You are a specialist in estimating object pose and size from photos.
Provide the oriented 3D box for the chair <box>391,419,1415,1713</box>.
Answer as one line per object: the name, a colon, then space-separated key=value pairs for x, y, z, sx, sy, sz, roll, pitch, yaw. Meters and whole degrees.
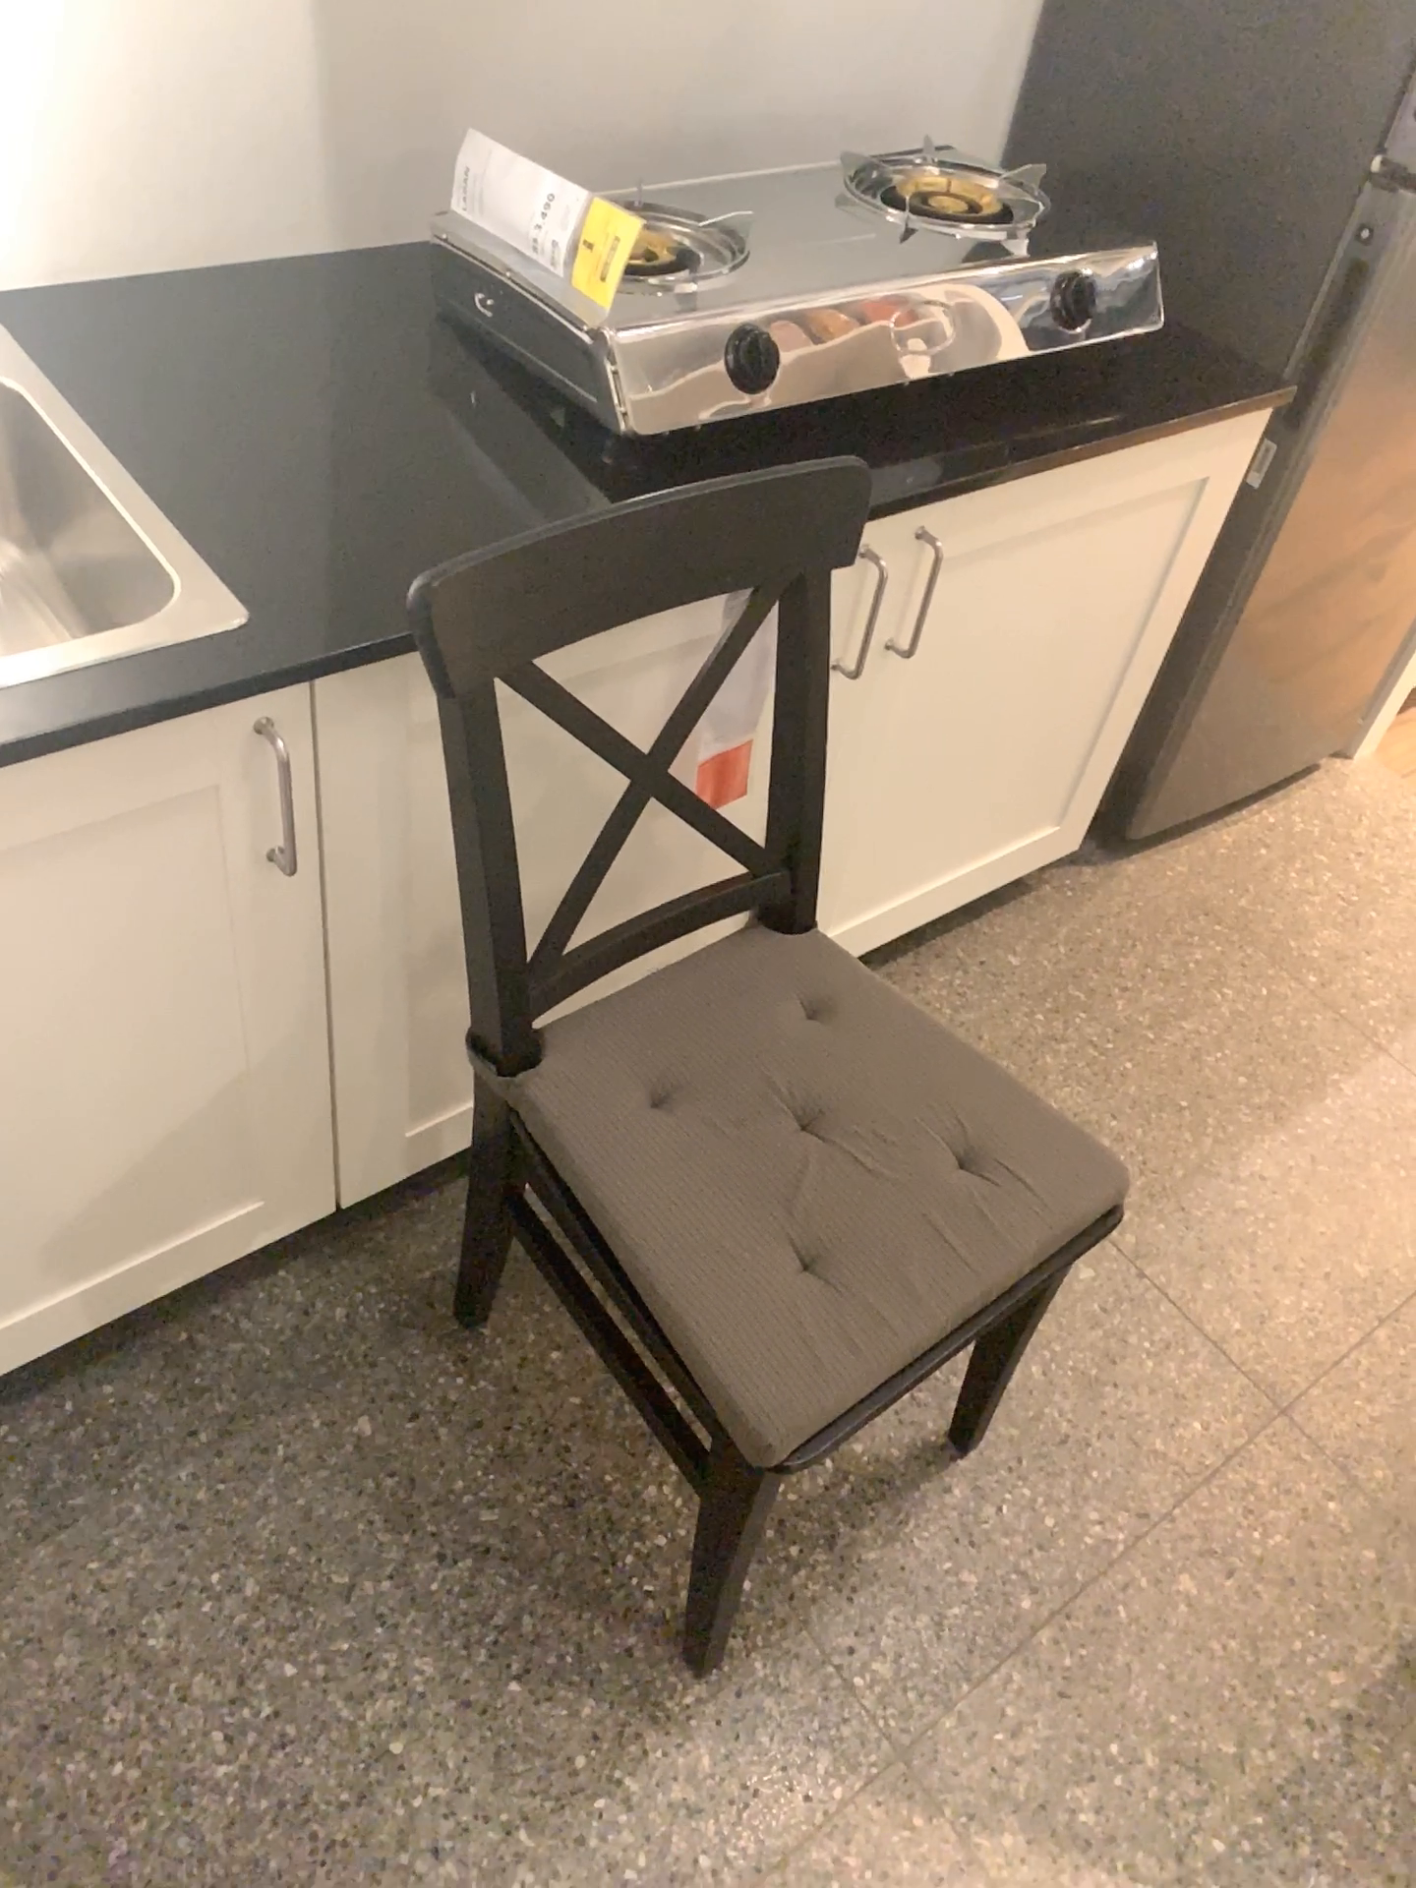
chair: x=0.072 y=0.115 z=1.113 sx=0.421 sy=0.787 sz=0.491 roll=-27 pitch=56 yaw=-32
